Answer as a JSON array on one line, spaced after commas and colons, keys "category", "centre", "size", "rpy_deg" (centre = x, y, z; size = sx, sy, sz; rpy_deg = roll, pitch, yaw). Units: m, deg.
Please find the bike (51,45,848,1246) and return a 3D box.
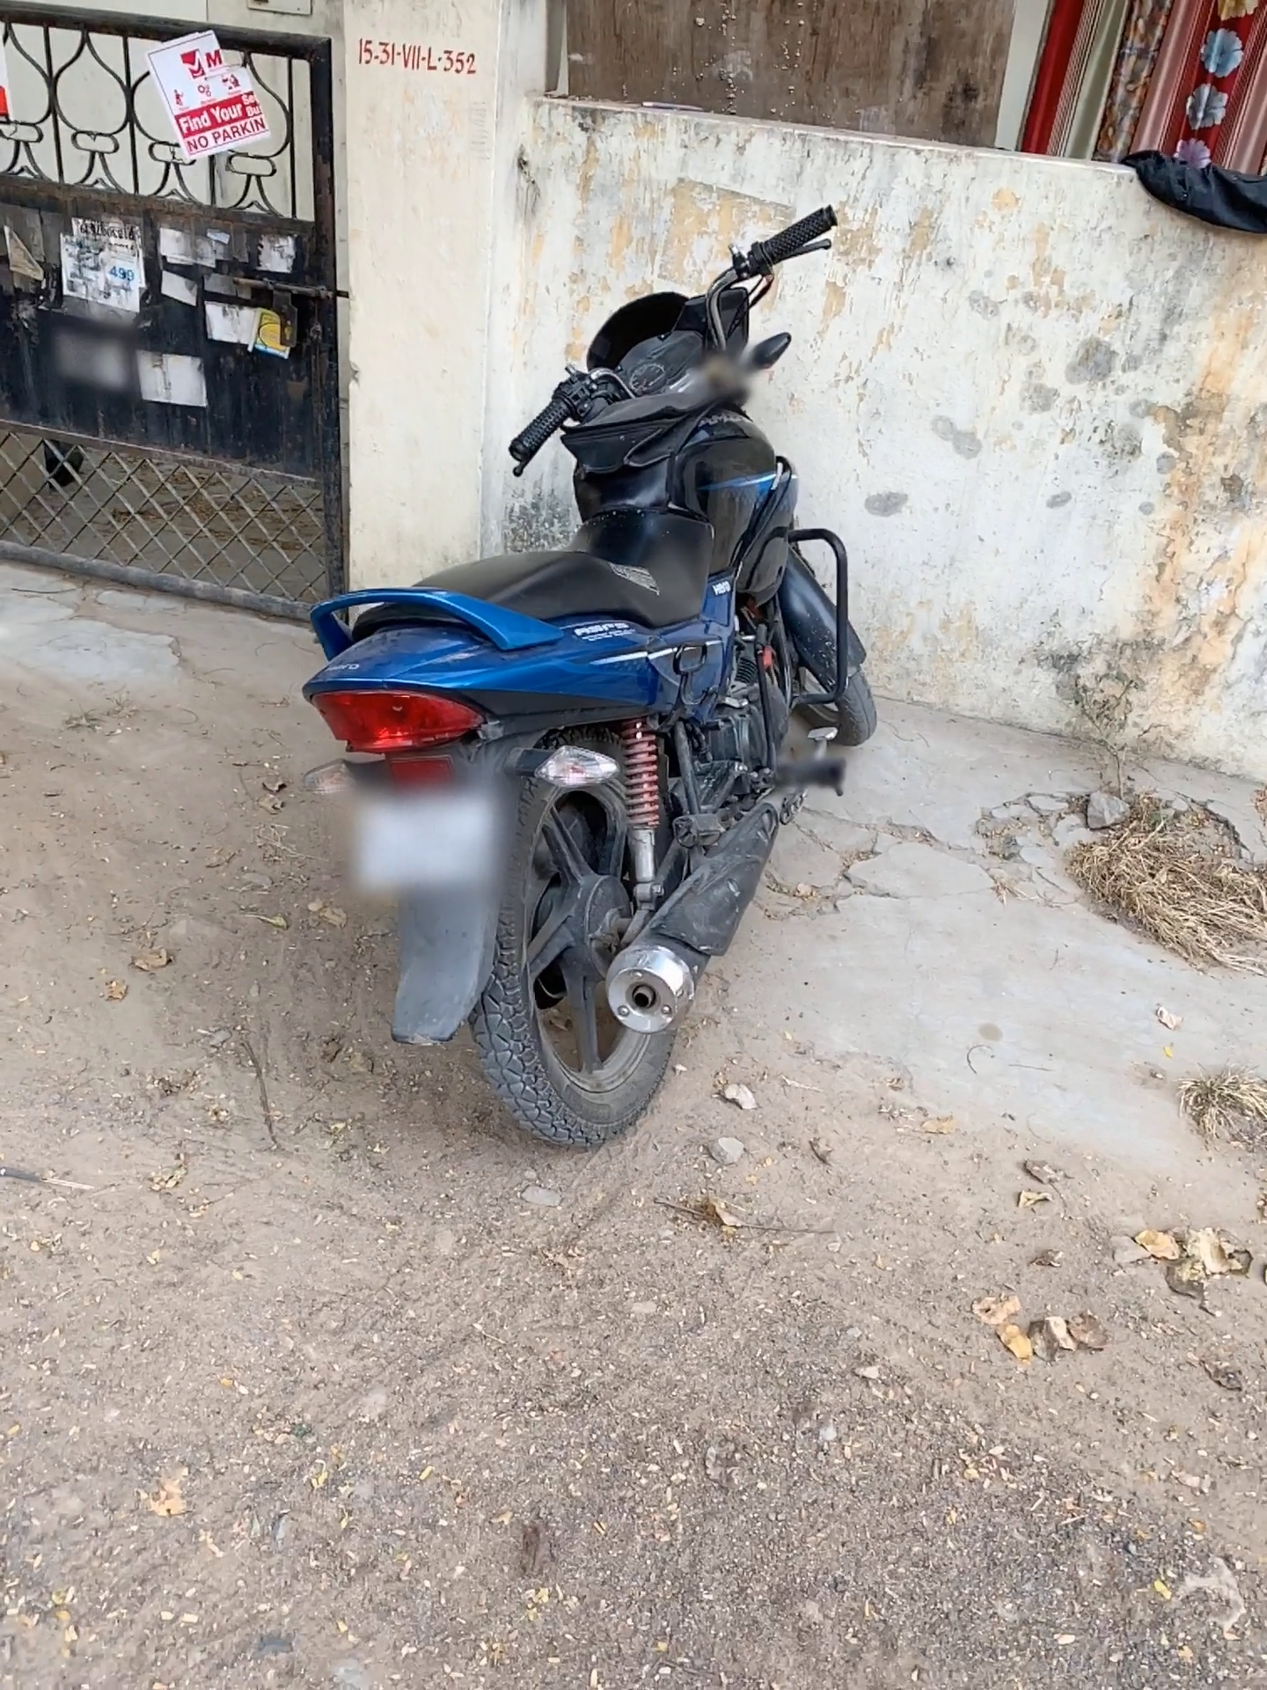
[{"category": "bike", "centre": [-0.163, -0.564, 2.262], "size": [0.754, 1.233, 1.713], "rpy_deg": [11, 35, 7]}]
